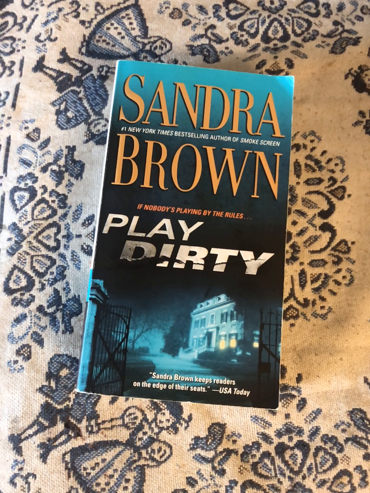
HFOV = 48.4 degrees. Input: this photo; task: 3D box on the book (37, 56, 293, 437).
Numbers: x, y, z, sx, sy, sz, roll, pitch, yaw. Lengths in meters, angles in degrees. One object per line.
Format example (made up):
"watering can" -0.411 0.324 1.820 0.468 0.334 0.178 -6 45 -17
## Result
"book" -0.006 -0.003 0.221 0.110 0.040 0.180 5 81 -1
